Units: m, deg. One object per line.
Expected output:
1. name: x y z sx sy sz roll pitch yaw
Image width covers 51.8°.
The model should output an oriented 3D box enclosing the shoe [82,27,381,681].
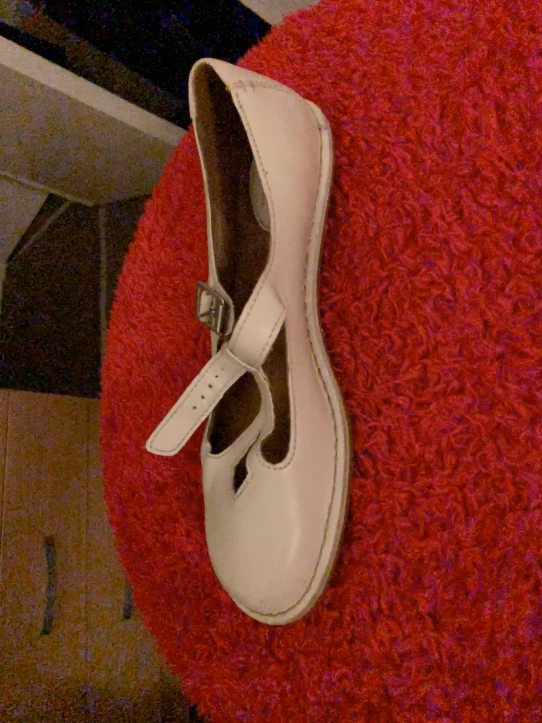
1. shoe: -0.019 -0.006 0.280 0.100 0.089 0.261 -15 70 45
